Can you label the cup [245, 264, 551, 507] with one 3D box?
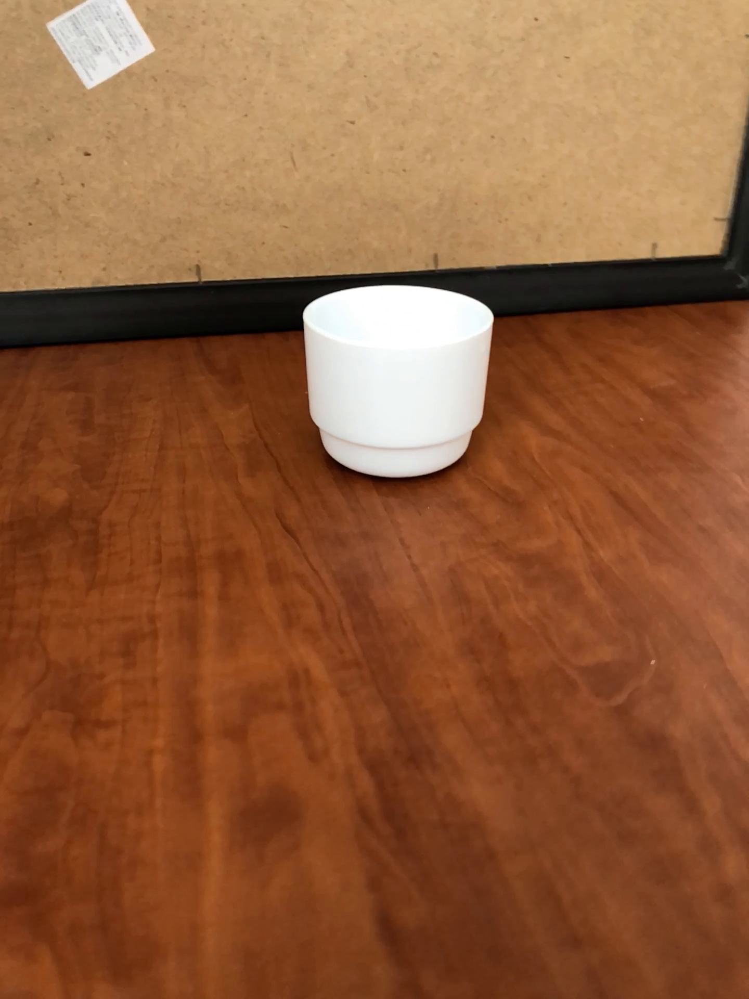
[{"bbox_3d":[0.015,-0.060,0.382,0.087,0.060,0.120,18,34,28],"label":"cup"}]
